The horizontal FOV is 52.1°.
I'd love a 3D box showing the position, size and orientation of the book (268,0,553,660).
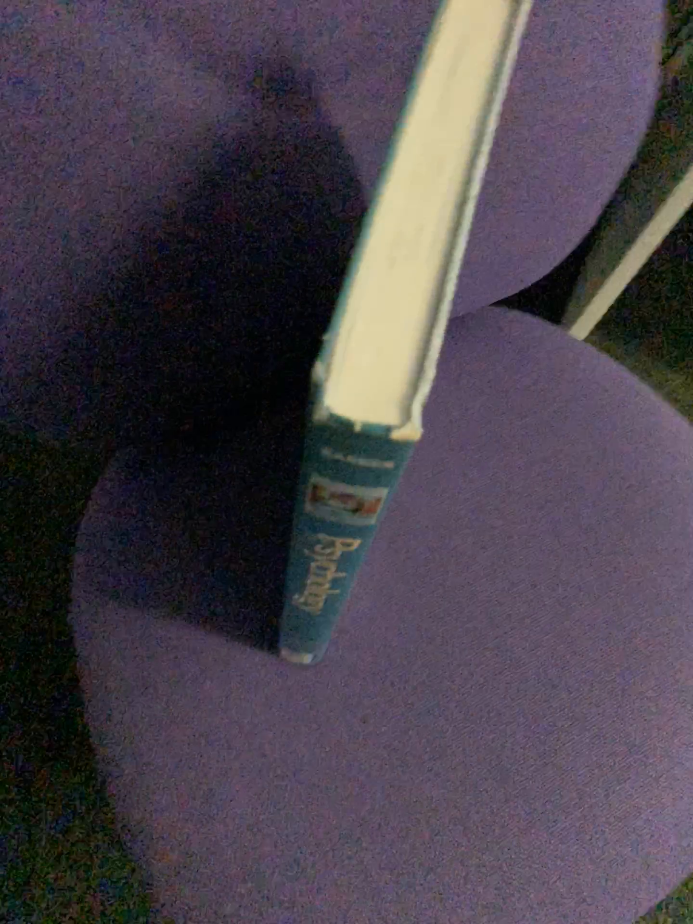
[{"bbox_3d":[0.018,-0.048,0.366,0.040,0.289,0.243,16,64,1],"label":"book"}]
